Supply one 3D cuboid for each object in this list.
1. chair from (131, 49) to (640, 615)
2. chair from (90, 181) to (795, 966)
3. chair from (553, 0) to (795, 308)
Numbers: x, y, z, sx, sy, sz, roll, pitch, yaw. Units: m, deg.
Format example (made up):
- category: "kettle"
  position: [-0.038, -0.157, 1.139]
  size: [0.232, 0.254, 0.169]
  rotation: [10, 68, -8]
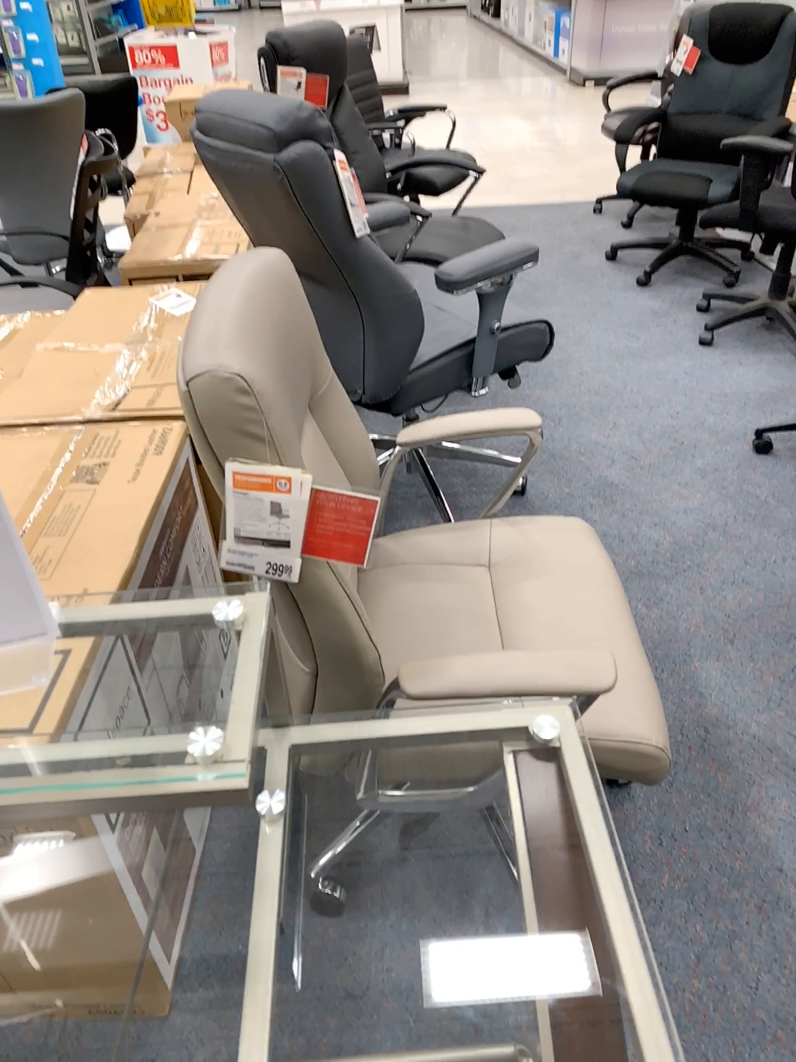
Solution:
- category: "chair"
  position: [-0.042, -0.562, 2.083]
  size: [0.815, 1.055, 0.814]
  rotation: [-22, 40, -24]
- category: "chair"
  position: [0.096, 0.069, 1.239]
  size: [0.674, 0.956, 0.695]
  rotation: [-2, 36, 2]
- category: "chair"
  position: [1.325, -1.703, 3.552]
  size: [0.813, 1.016, 0.936]
  rotation: [28, 46, 35]
